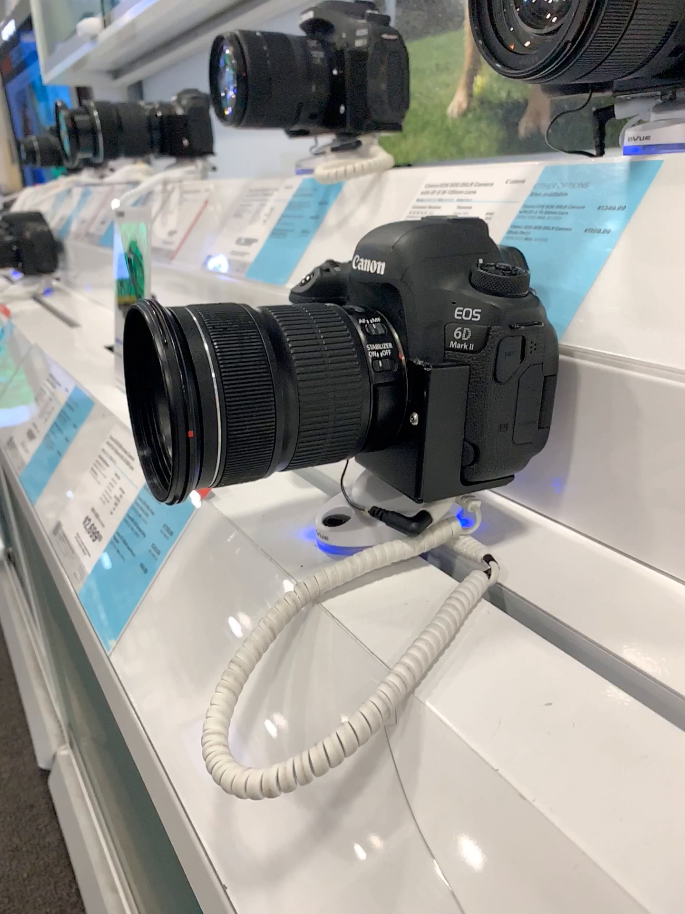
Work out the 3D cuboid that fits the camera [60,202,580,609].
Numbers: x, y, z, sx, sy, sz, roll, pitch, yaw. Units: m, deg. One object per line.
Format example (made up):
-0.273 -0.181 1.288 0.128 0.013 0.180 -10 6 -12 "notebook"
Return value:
-0.012 -0.044 0.324 0.180 0.124 0.137 -14 23 -26 "camera"
